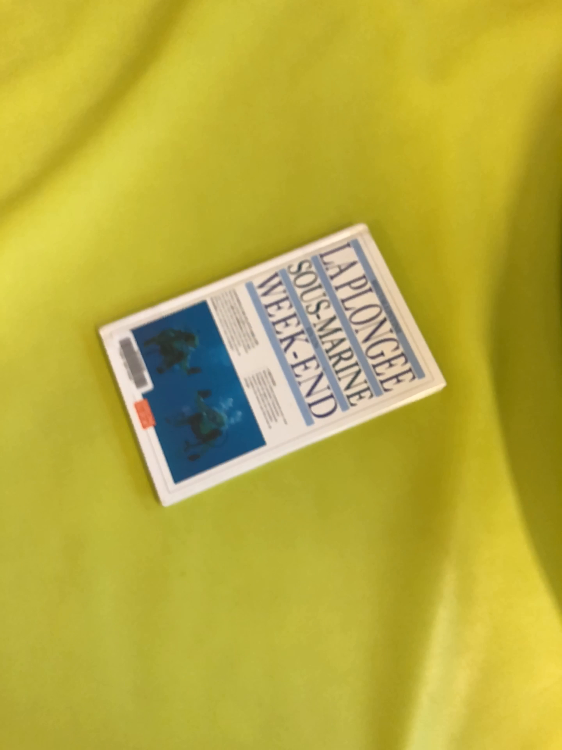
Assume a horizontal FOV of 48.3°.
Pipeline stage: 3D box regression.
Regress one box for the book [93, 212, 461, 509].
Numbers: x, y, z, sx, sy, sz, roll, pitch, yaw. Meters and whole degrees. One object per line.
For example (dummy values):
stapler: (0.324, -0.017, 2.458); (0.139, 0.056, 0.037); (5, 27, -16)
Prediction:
book: (-0.006, -0.016, 0.475); (0.234, 0.020, 0.150); (-22, 75, -5)
